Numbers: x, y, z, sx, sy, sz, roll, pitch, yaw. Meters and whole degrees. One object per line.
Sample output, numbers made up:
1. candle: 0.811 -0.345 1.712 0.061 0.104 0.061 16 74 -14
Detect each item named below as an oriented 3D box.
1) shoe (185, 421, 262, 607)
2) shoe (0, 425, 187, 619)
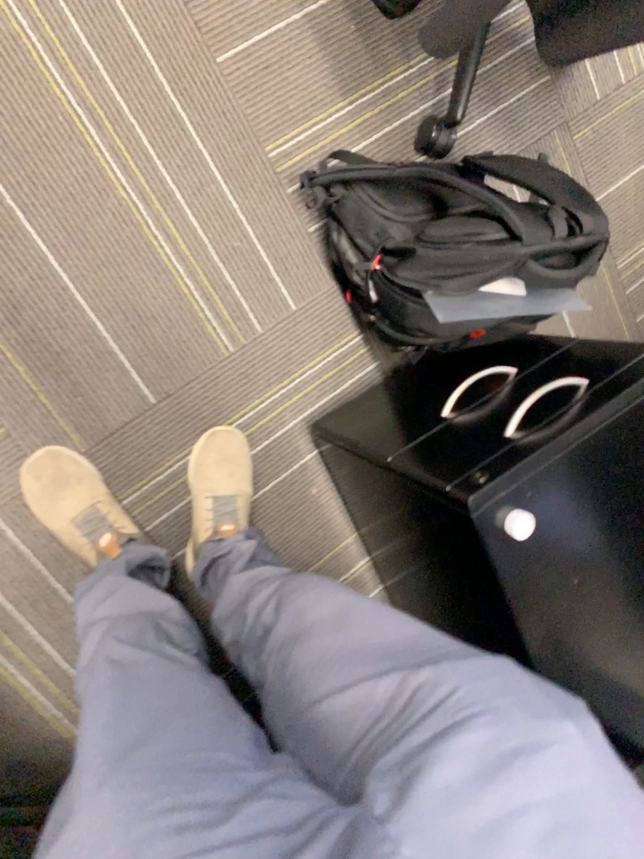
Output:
1. shoe: -0.176 0.142 1.138 0.107 0.098 0.302 -2 101 -23
2. shoe: -0.377 0.155 1.084 0.126 0.098 0.302 -40 113 -11
